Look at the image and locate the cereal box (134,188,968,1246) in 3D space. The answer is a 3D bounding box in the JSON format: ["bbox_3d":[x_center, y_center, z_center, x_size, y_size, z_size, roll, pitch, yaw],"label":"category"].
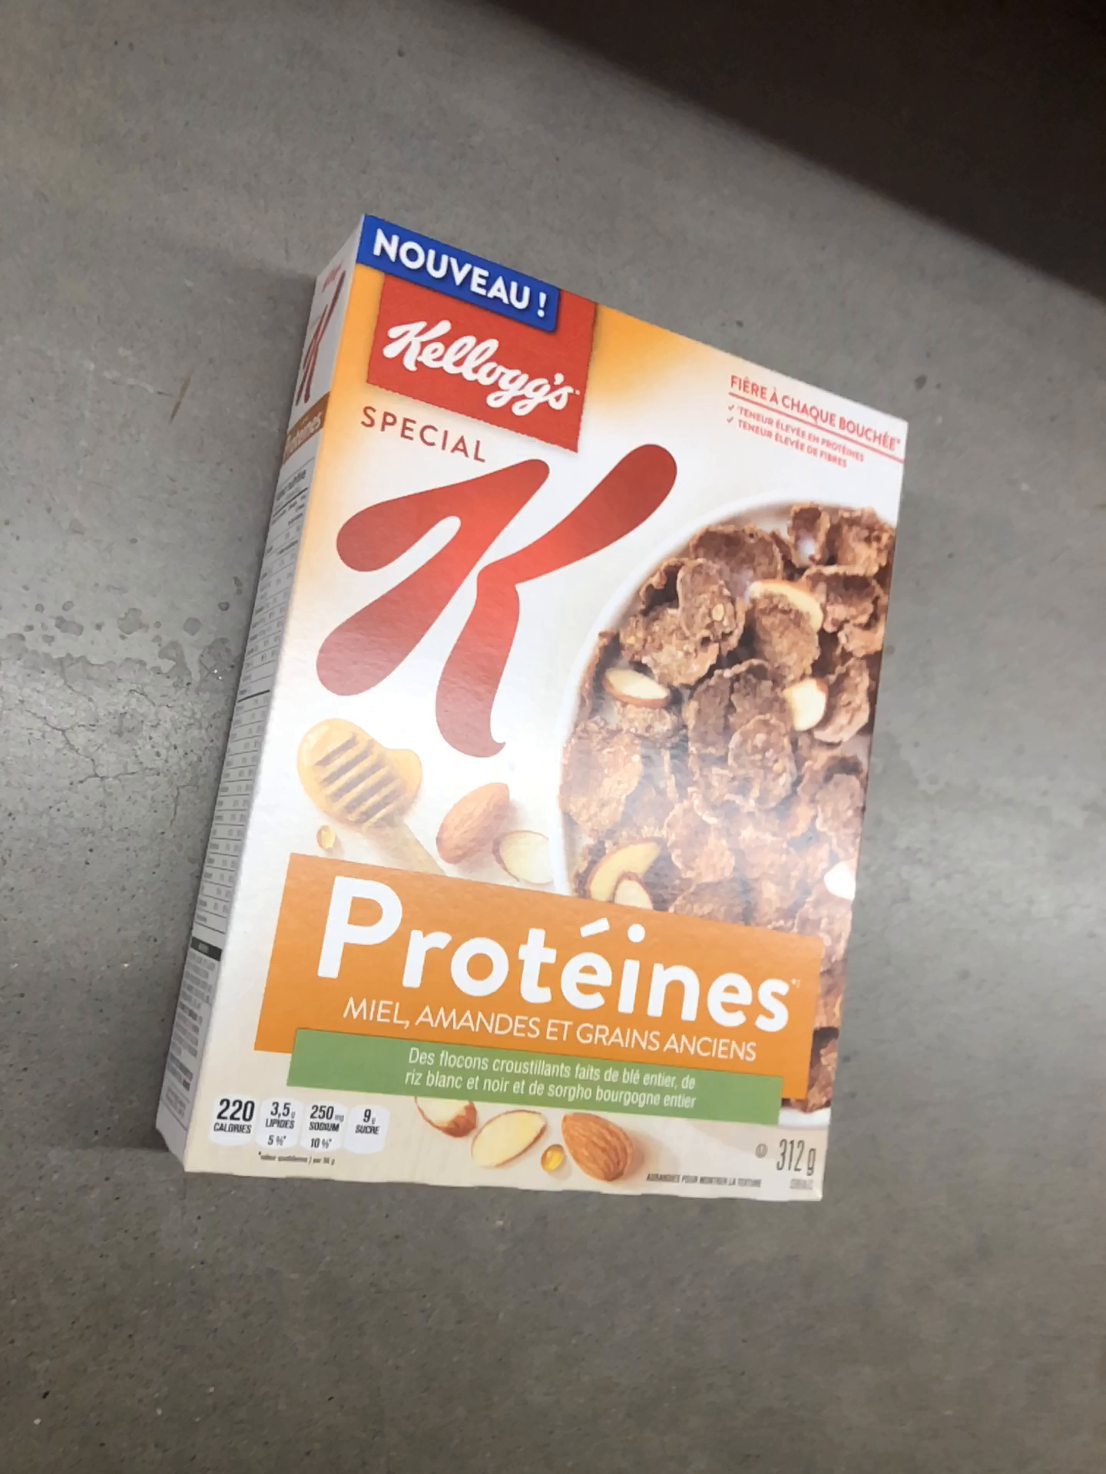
[{"bbox_3d":[0.010,0.007,0.350,0.201,0.050,0.250,12,83,-24],"label":"cereal box"}]
